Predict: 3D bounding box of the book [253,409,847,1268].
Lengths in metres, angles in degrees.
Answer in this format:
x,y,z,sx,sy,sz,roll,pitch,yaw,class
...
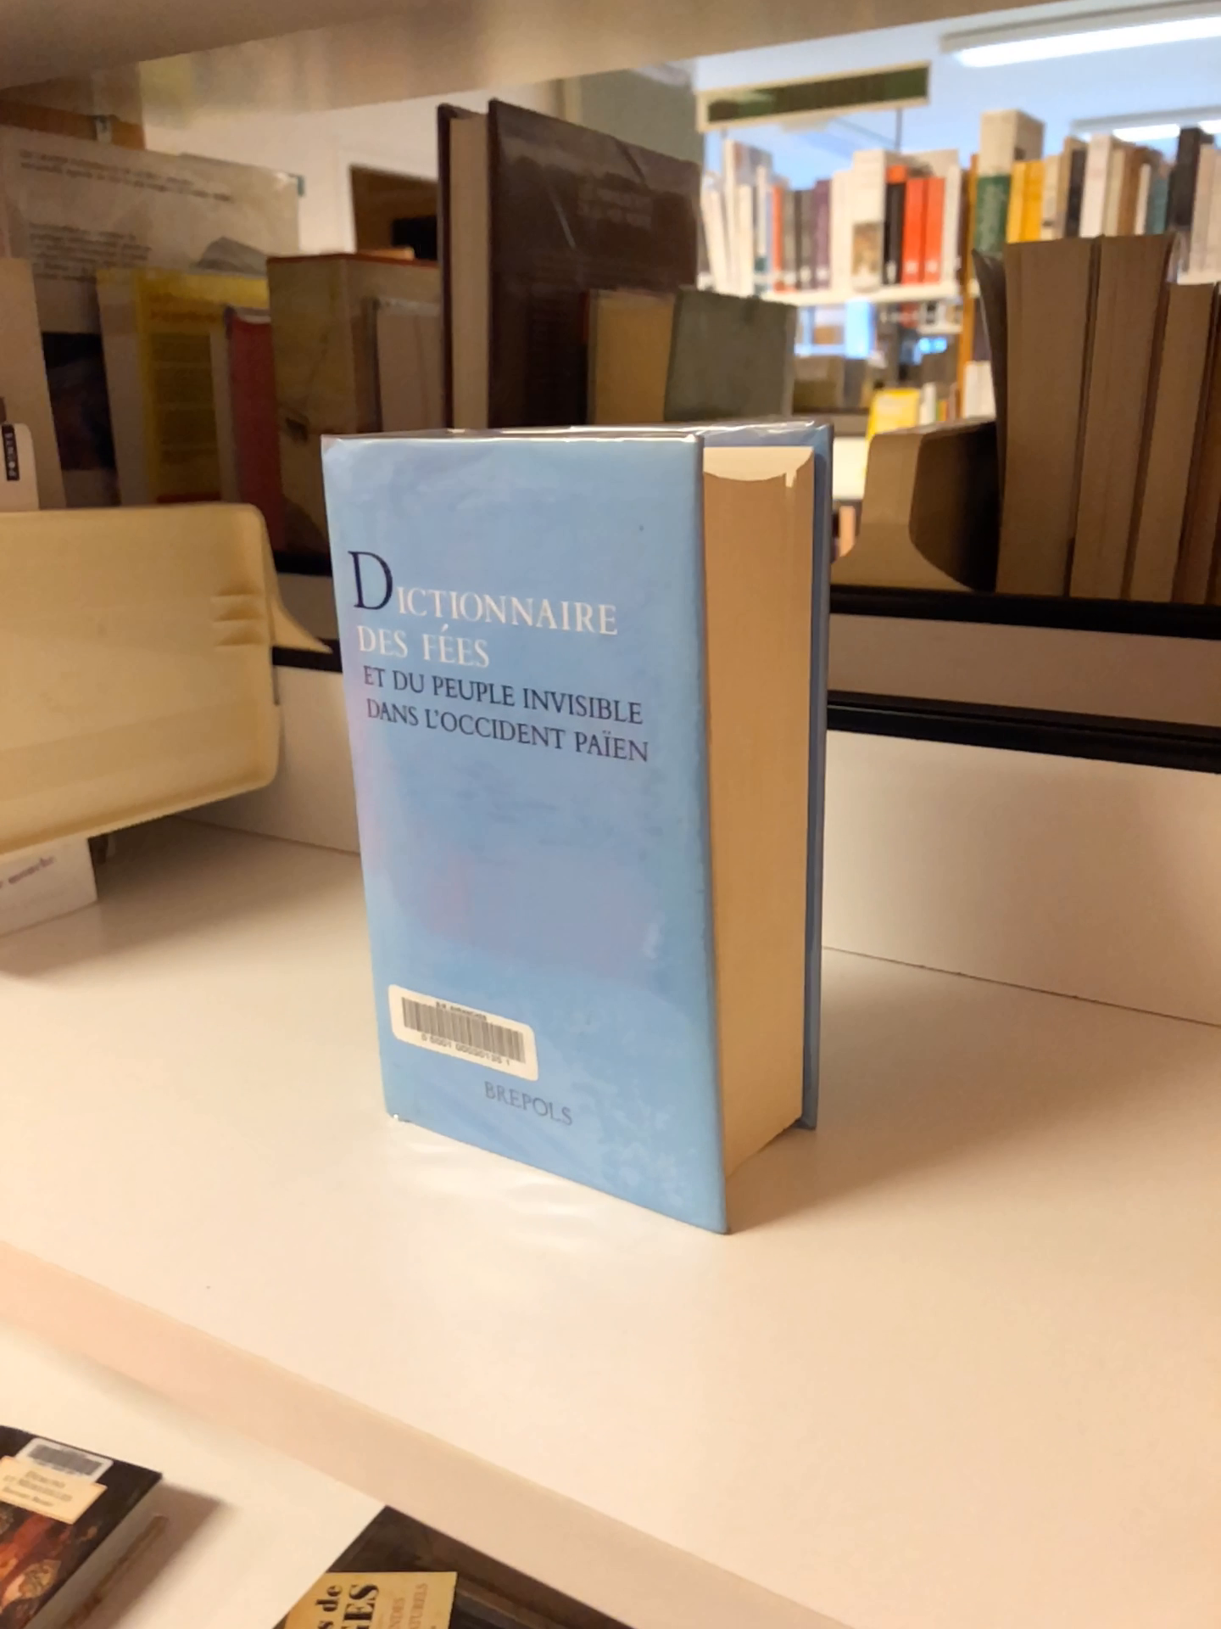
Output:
x,y,z,sx,sy,sz,roll,pitch,yaw,class
-0.012,-0.002,0.339,0.125,0.186,0.060,10,22,33,book
